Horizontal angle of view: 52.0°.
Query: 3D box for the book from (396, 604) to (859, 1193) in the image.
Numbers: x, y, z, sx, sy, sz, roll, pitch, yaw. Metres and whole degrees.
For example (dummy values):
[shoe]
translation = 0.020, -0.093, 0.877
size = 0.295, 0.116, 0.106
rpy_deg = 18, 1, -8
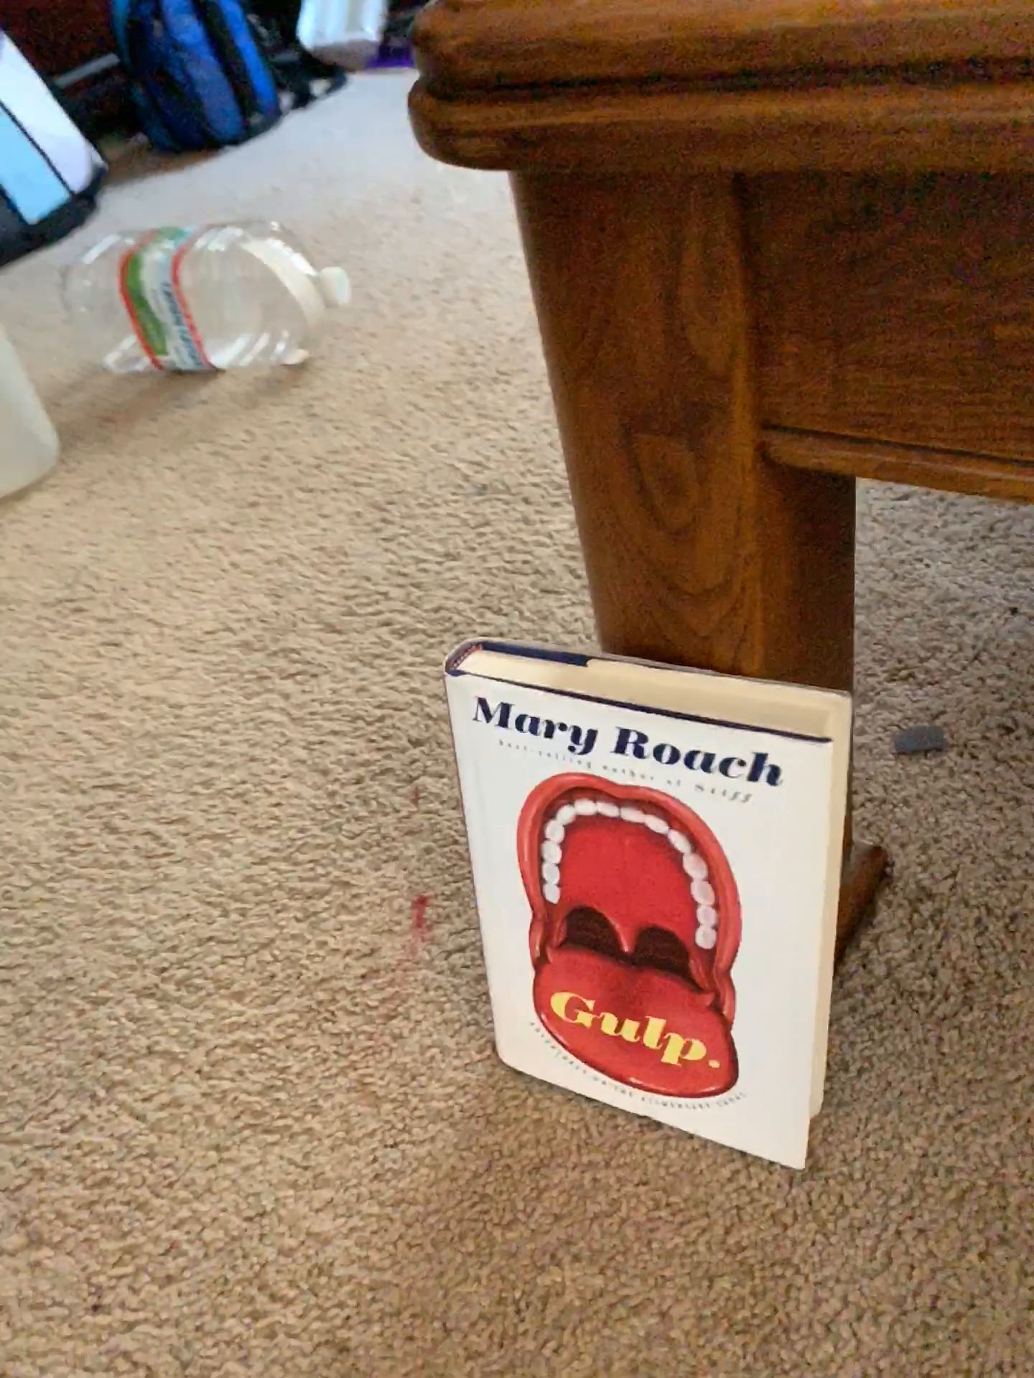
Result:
[book]
translation = 0.046, 0.087, 0.432
size = 0.160, 0.229, 0.040
rpy_deg = 11, 35, 27
